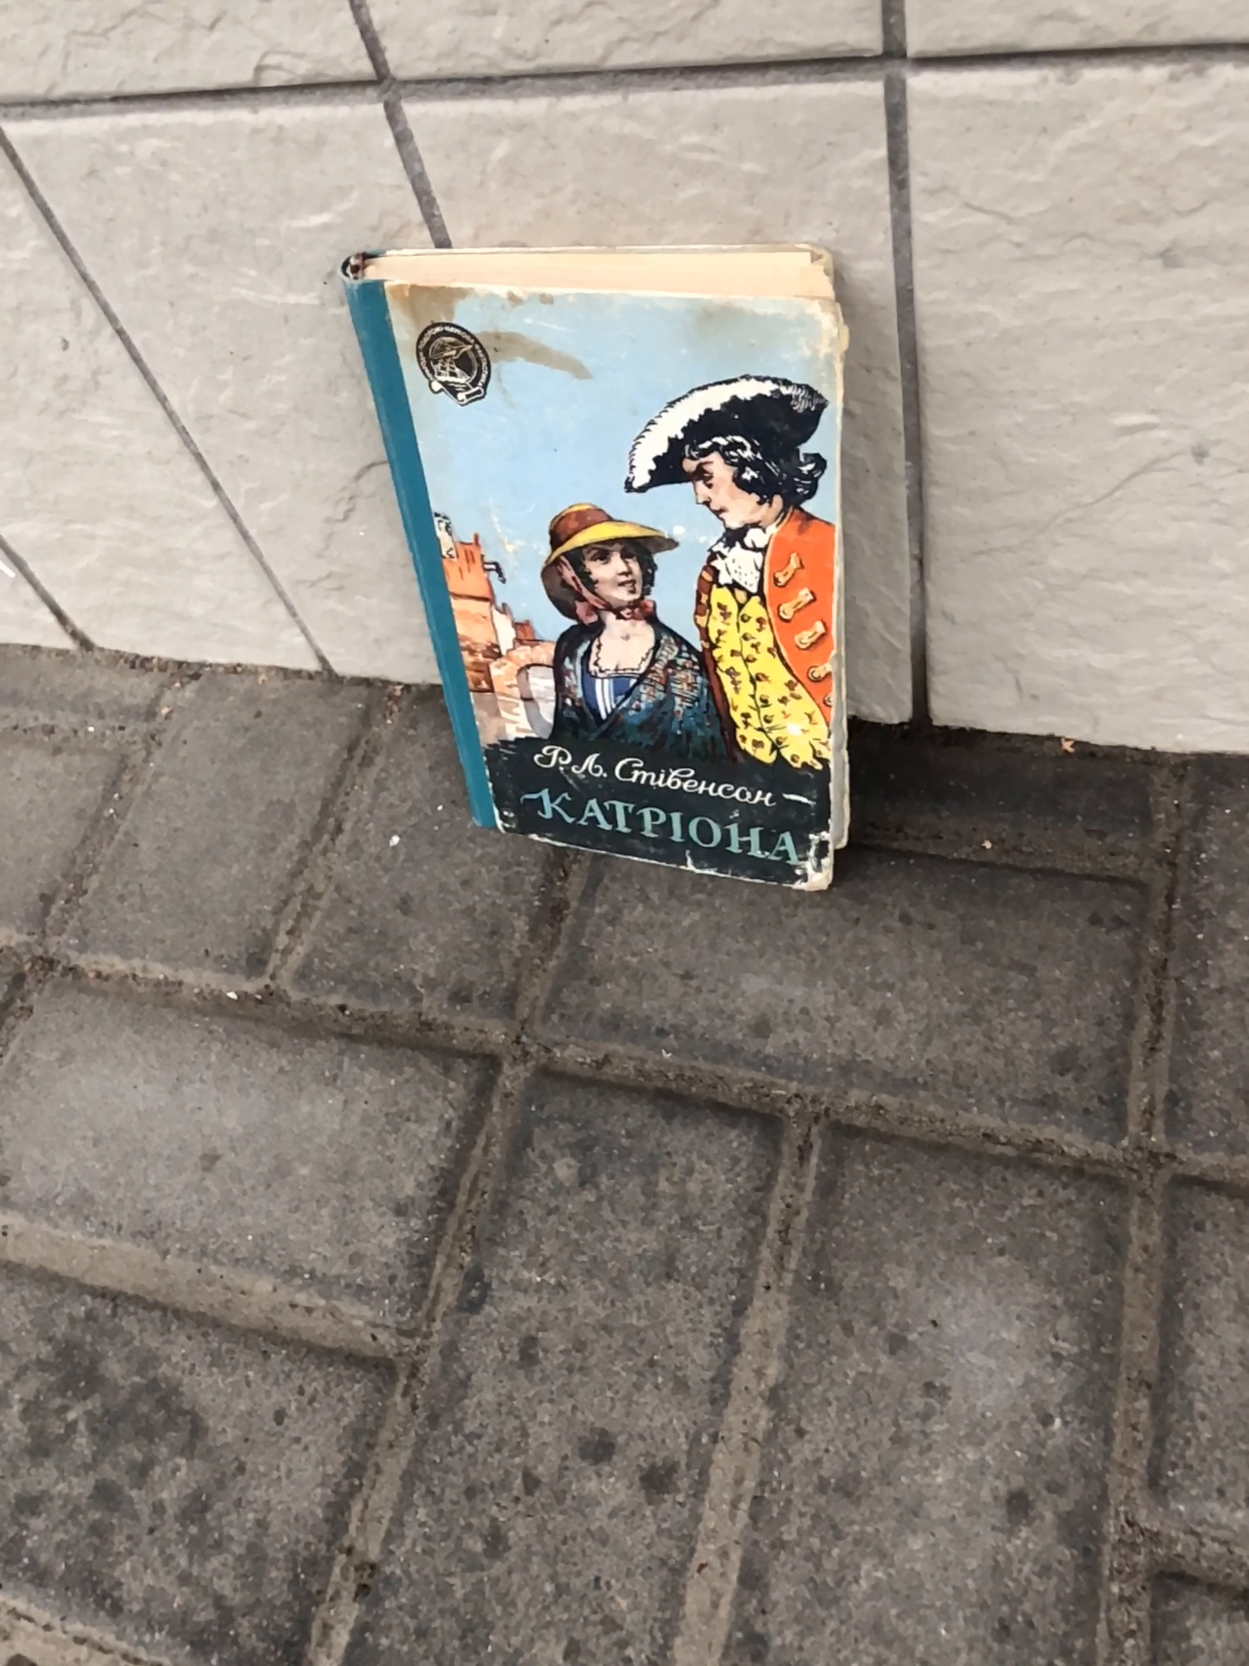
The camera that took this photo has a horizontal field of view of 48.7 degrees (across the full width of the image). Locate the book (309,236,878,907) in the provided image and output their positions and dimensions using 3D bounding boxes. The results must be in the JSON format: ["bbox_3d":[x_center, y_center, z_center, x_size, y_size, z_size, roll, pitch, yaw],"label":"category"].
[{"bbox_3d":[0.002,-0.066,0.391,0.134,0.189,0.030,10,48,20],"label":"book"}]
